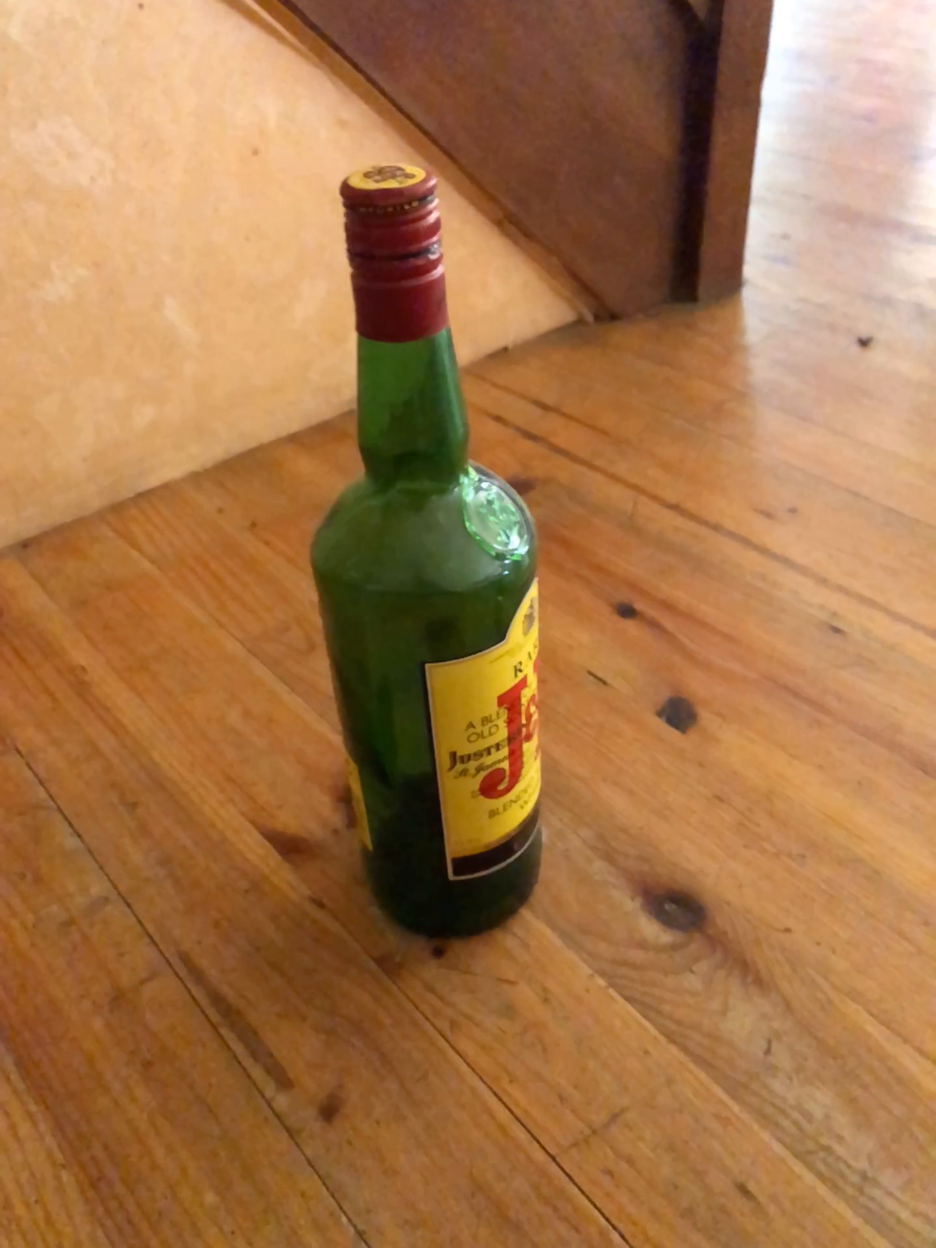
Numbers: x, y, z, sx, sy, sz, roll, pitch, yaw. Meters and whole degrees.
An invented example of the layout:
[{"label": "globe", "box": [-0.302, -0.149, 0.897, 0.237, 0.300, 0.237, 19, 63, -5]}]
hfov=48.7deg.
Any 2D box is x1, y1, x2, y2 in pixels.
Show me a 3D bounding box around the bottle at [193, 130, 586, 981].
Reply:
[{"label": "bottle", "box": [-0.012, -0.004, 0.398, 0.080, 0.318, 0.091, 15, 42, 21]}]
